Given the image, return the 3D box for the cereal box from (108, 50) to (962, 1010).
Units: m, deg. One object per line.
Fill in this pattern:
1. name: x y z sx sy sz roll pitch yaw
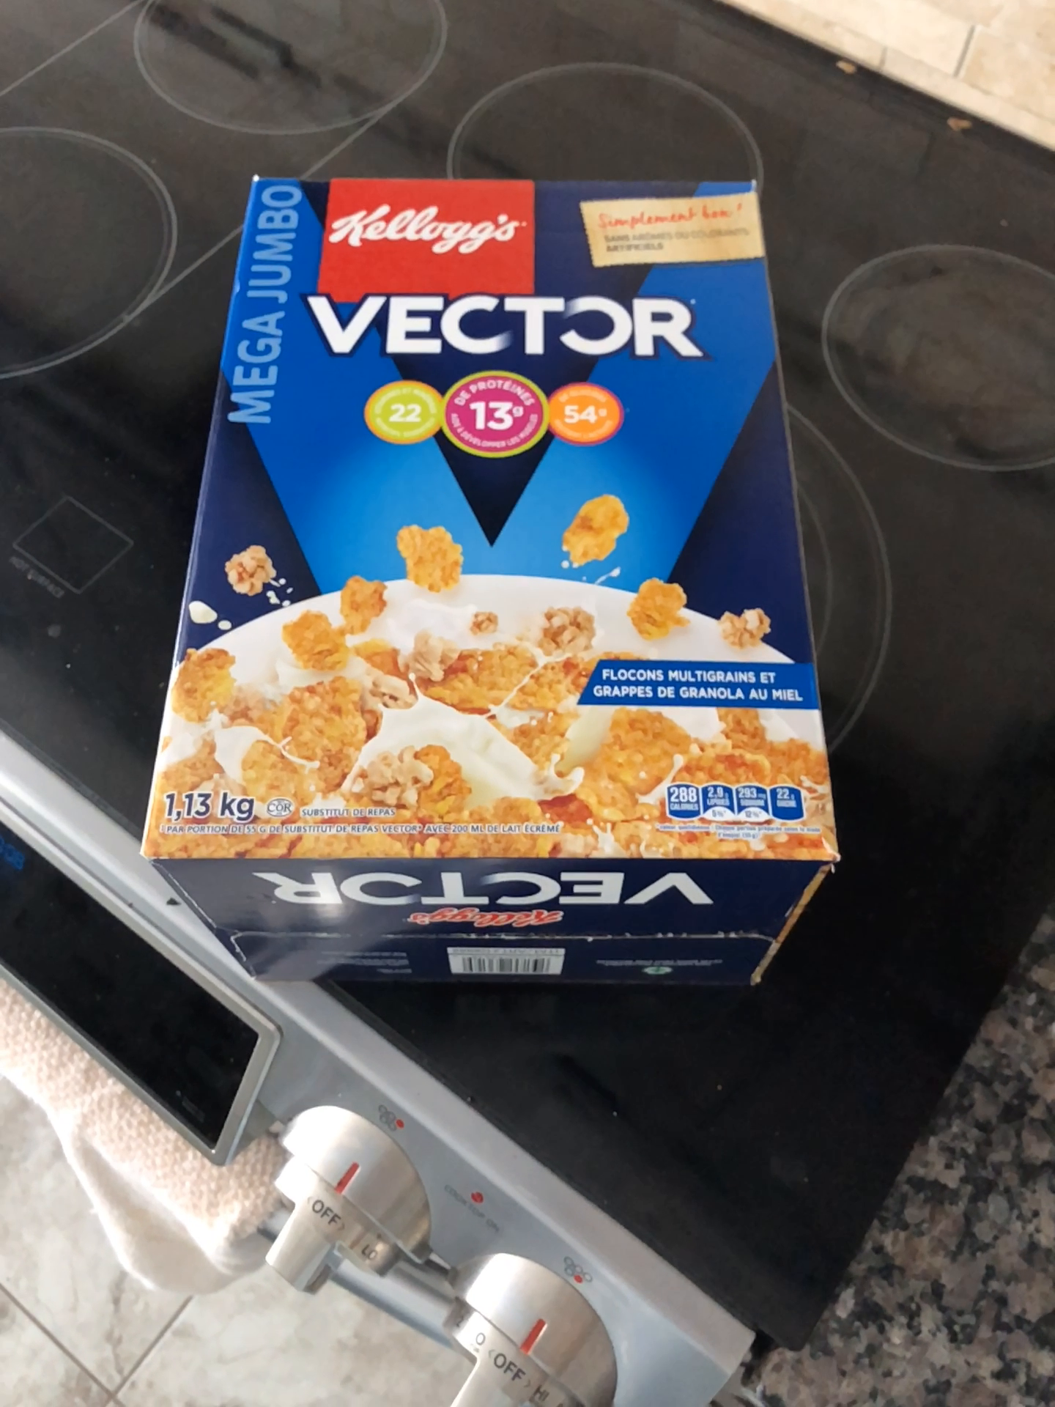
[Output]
1. cereal box: 0.002 -0.058 0.443 0.220 0.170 0.310 1 67 -1
